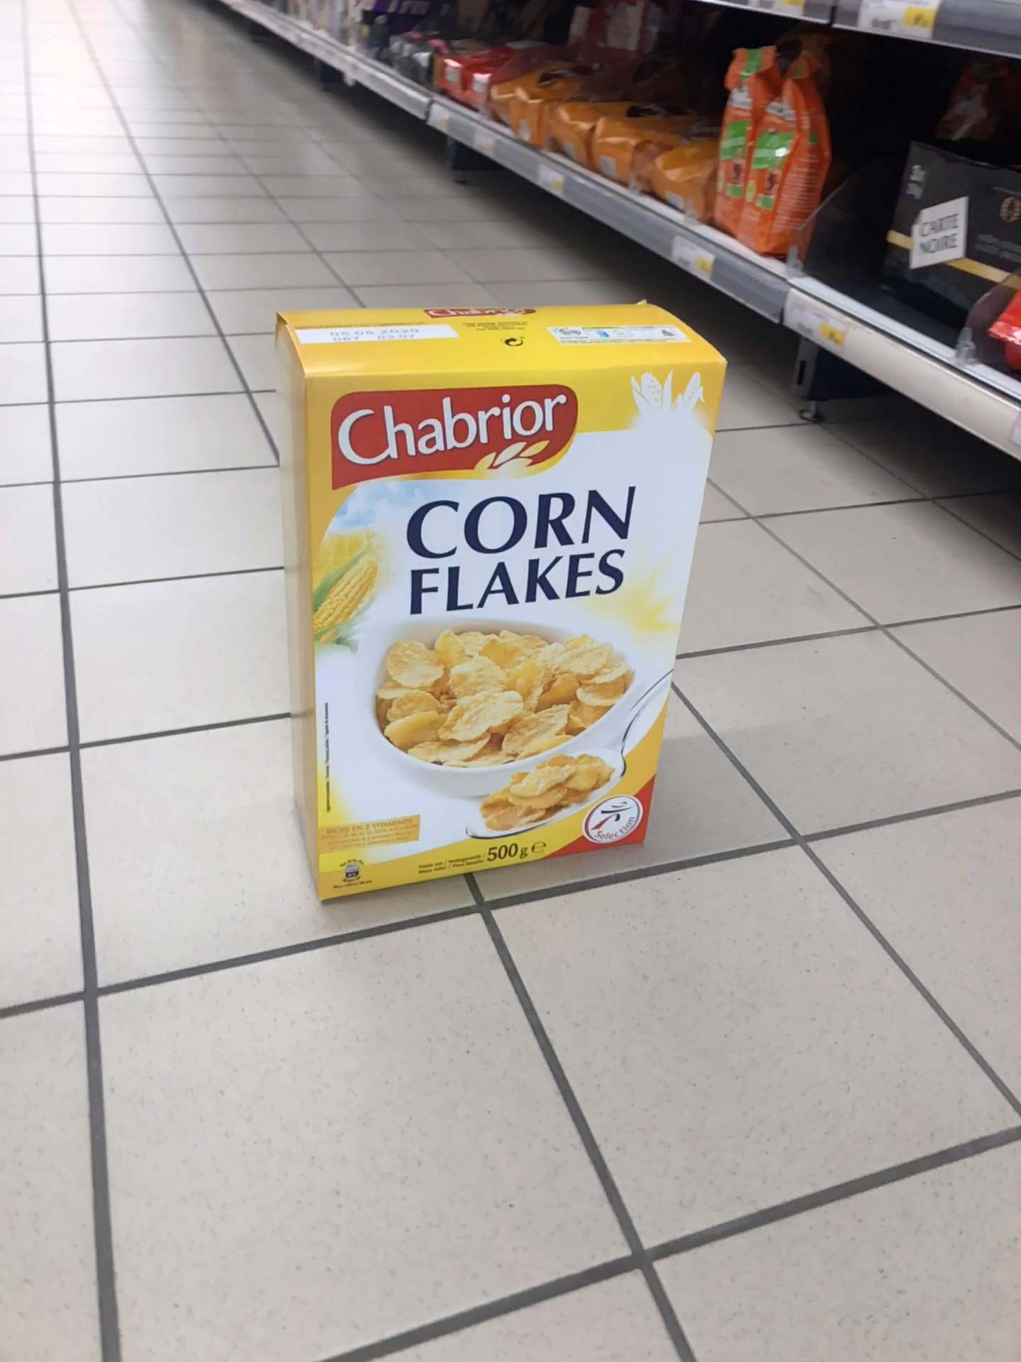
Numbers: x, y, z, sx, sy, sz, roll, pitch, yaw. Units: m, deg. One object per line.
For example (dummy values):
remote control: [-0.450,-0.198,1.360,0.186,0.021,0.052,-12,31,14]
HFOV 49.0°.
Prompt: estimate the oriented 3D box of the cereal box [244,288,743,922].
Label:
cereal box: [-0.021,-0.039,0.605,0.210,0.308,0.111,-7,34,-17]
